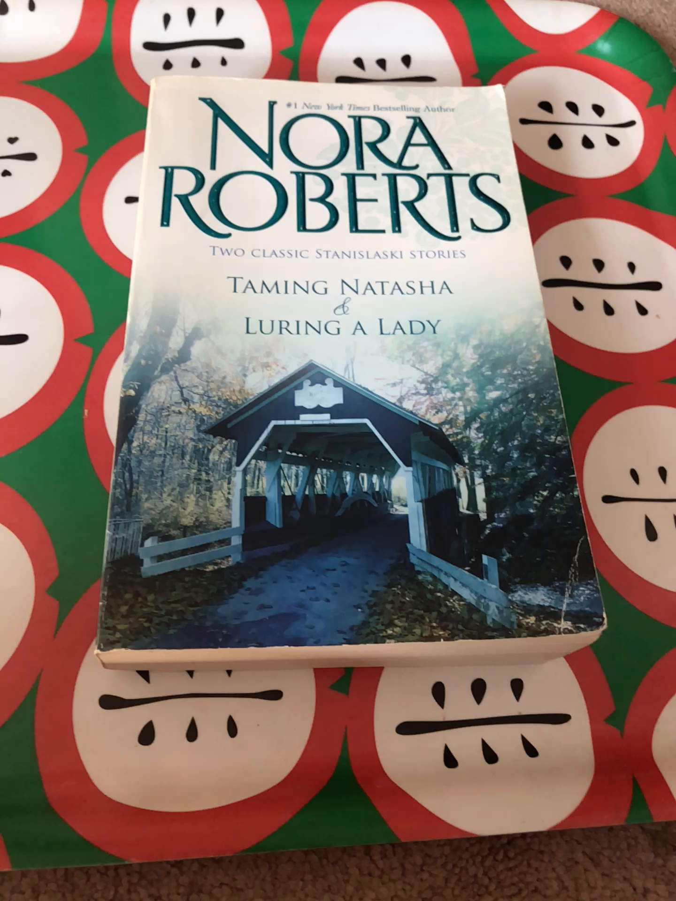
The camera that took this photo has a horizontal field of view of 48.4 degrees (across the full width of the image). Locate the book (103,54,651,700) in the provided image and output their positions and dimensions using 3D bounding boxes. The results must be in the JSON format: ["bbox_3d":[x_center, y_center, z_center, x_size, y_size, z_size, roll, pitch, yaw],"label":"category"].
[{"bbox_3d":[0.007,-0.035,0.253,0.140,0.040,0.221,0,67,-4],"label":"book"}]
